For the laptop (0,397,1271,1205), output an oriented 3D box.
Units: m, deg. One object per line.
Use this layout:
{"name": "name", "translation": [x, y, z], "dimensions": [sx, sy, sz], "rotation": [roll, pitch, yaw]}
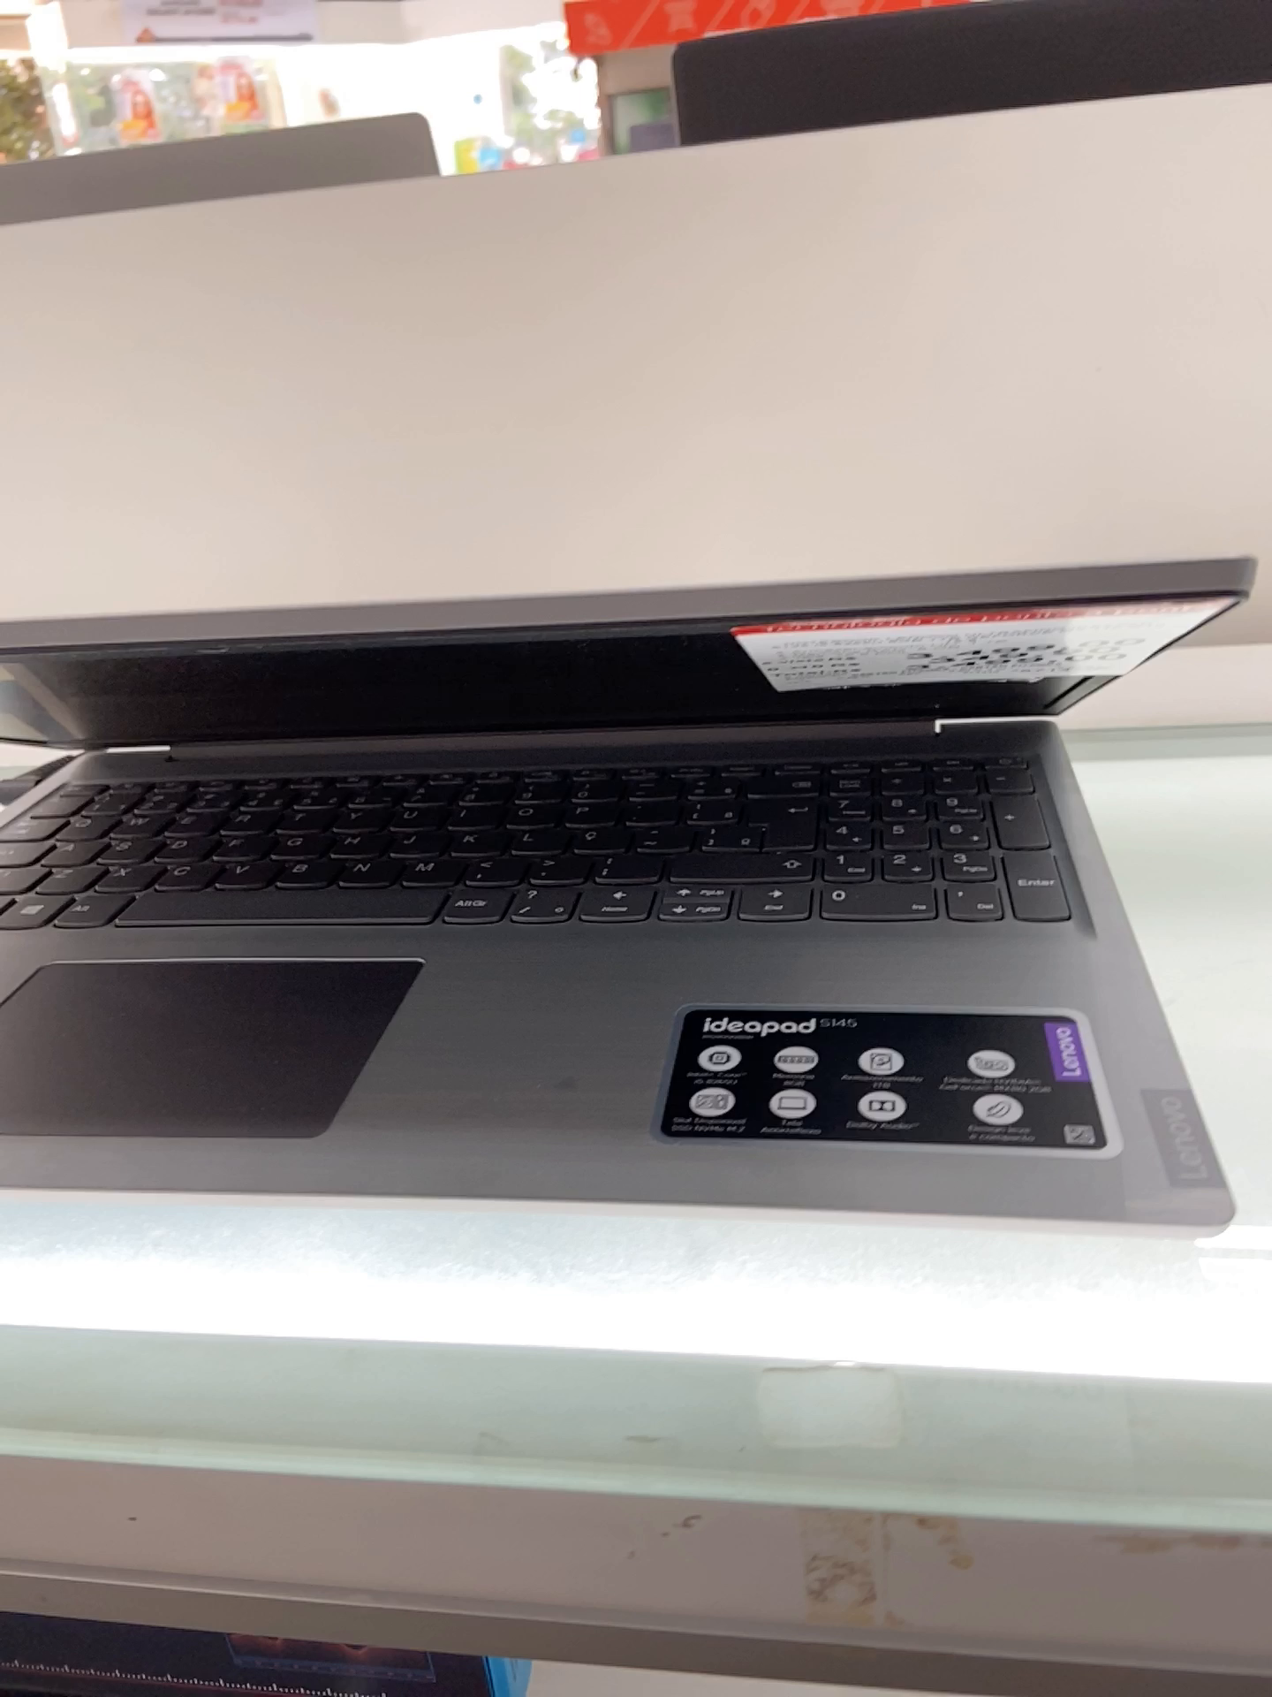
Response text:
{"name": "laptop", "translation": [-0.058, -0.034, 0.345], "dimensions": [0.353, 0.104, 0.240], "rotation": [-1, 25, 10]}
